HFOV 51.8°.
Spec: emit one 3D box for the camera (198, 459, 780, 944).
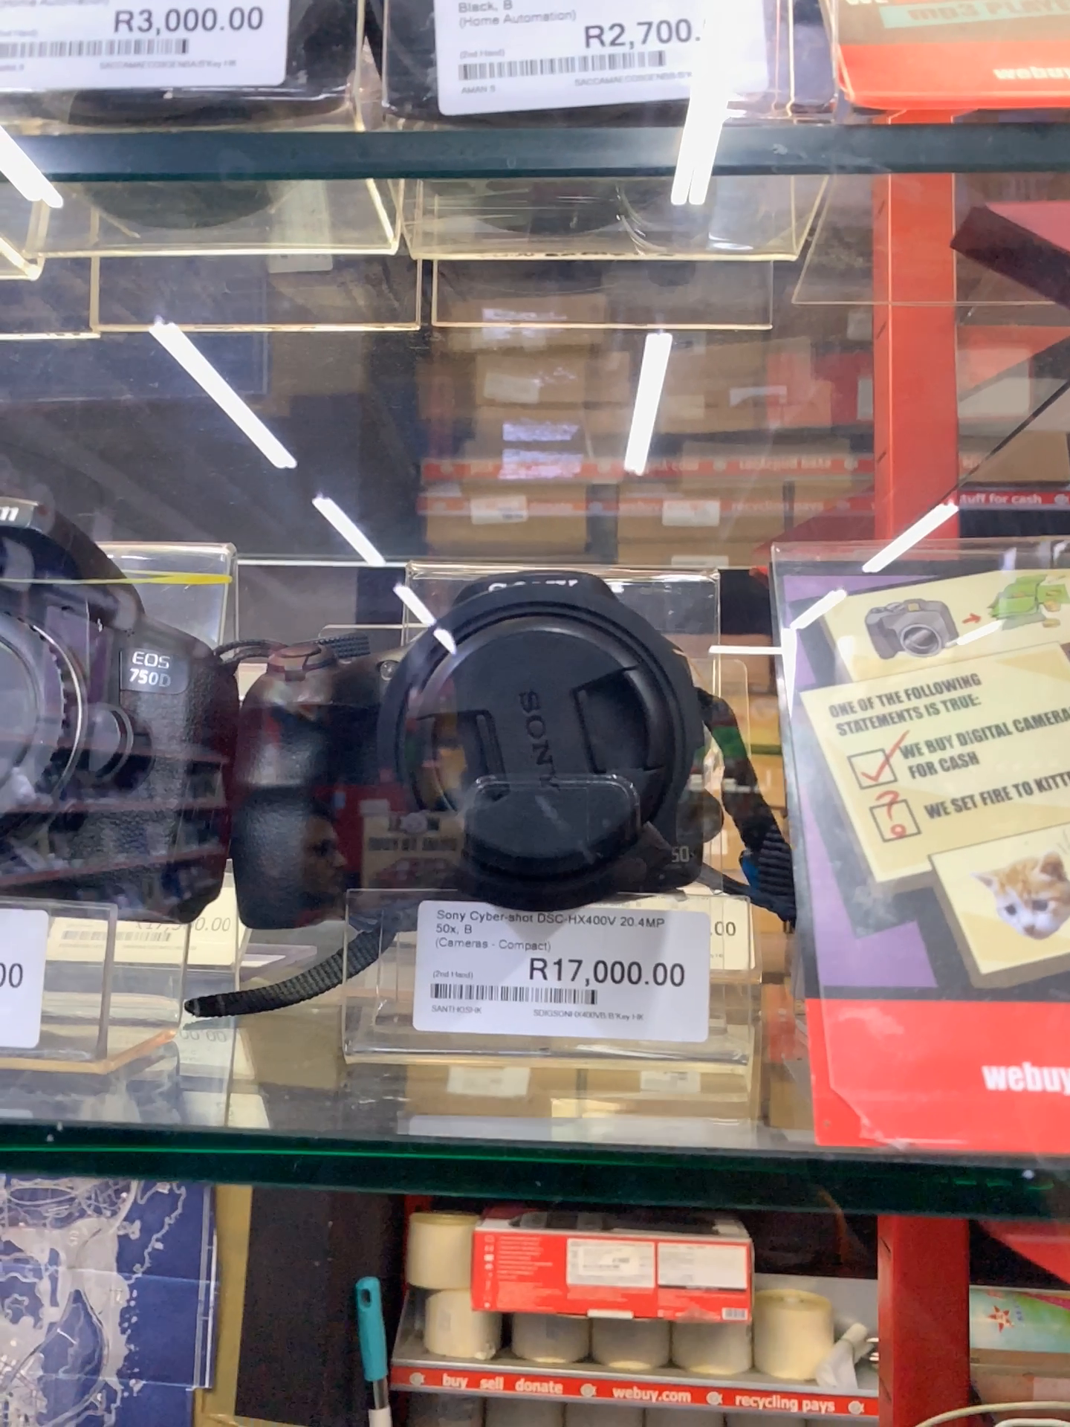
[{"bbox_3d":[-0.009,0.000,0.277,0.120,0.100,0.090,1,-5,-1],"label":"camera"}]
